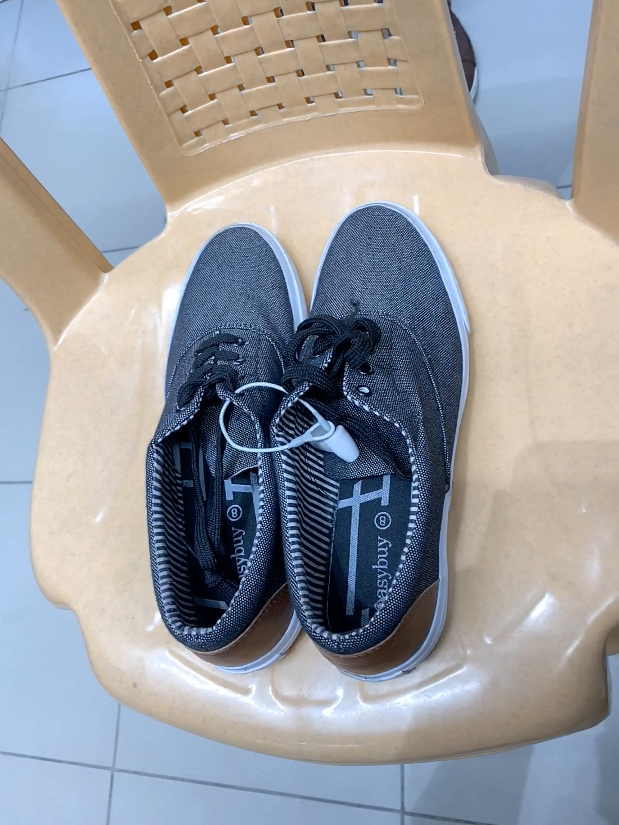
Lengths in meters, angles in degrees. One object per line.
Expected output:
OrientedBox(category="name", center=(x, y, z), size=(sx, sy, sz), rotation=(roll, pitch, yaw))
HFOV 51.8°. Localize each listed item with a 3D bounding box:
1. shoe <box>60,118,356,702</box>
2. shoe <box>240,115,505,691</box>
OrientedBox(category="shoe", center=(-0.051, 0.002, 0.339), size=(0.100, 0.110, 0.260), rotation=(-10, 73, 16))
OrientedBox(category="shoe", center=(0.036, -0.002, 0.354), size=(0.110, 0.110, 0.270), rotation=(-6, 74, 18))
